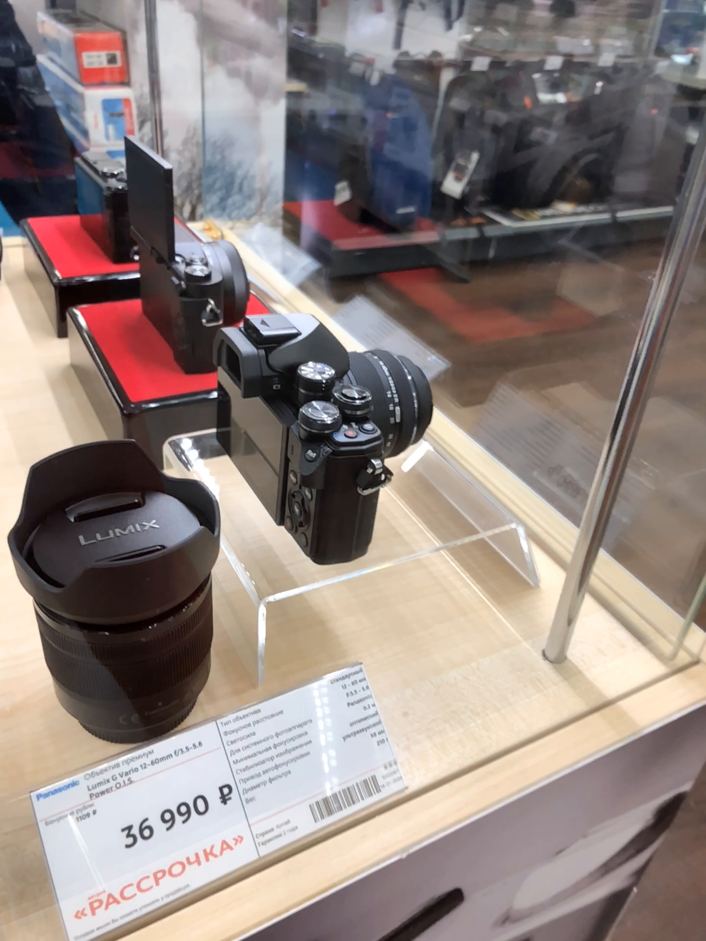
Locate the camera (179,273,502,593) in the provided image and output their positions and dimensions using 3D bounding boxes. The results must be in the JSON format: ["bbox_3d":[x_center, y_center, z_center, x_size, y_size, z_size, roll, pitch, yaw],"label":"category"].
[{"bbox_3d":[-0.013,-0.026,0.373,0.101,0.088,0.118,-13,38,-26],"label":"camera"}]

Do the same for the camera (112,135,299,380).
[{"bbox_3d":[-0.094,-0.137,0.489,0.072,0.109,0.118,-13,38,-26],"label":"camera"}]
